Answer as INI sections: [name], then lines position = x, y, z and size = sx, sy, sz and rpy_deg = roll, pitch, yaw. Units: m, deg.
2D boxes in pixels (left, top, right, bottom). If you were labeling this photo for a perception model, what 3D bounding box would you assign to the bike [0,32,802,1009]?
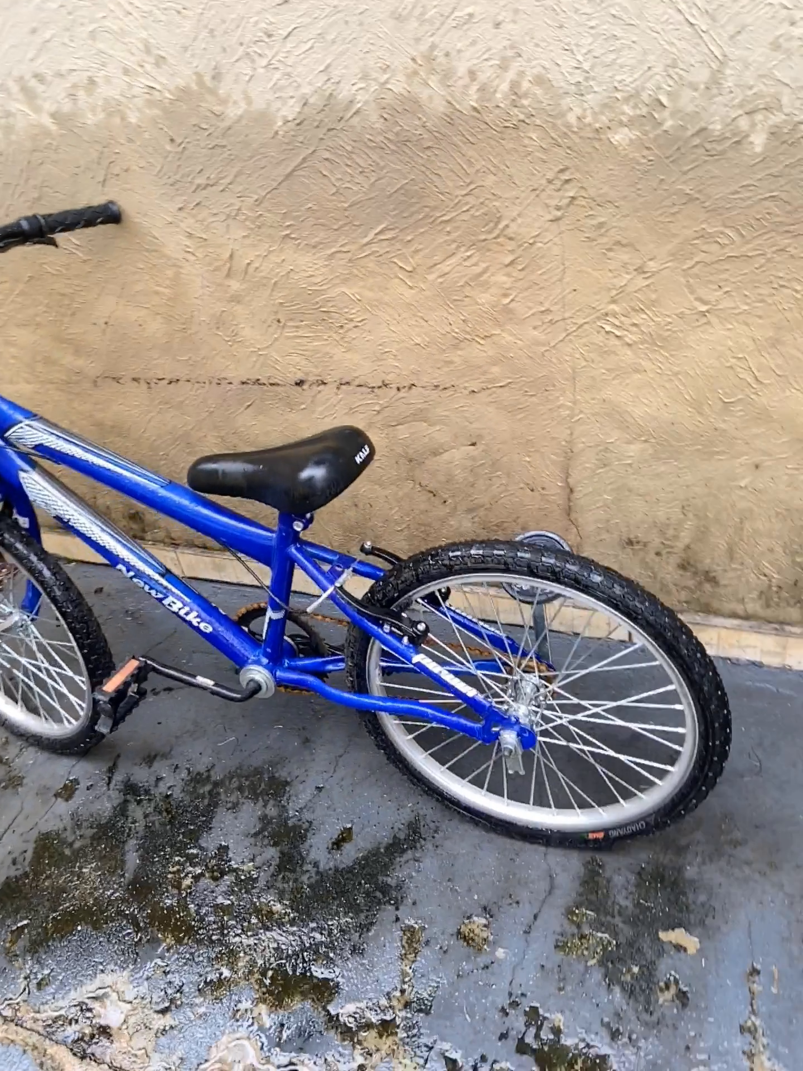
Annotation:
[bike]
position = -0.231, -0.058, 1.058
size = 1.250, 0.849, 0.545
rpy_deg = 7, 42, 21
